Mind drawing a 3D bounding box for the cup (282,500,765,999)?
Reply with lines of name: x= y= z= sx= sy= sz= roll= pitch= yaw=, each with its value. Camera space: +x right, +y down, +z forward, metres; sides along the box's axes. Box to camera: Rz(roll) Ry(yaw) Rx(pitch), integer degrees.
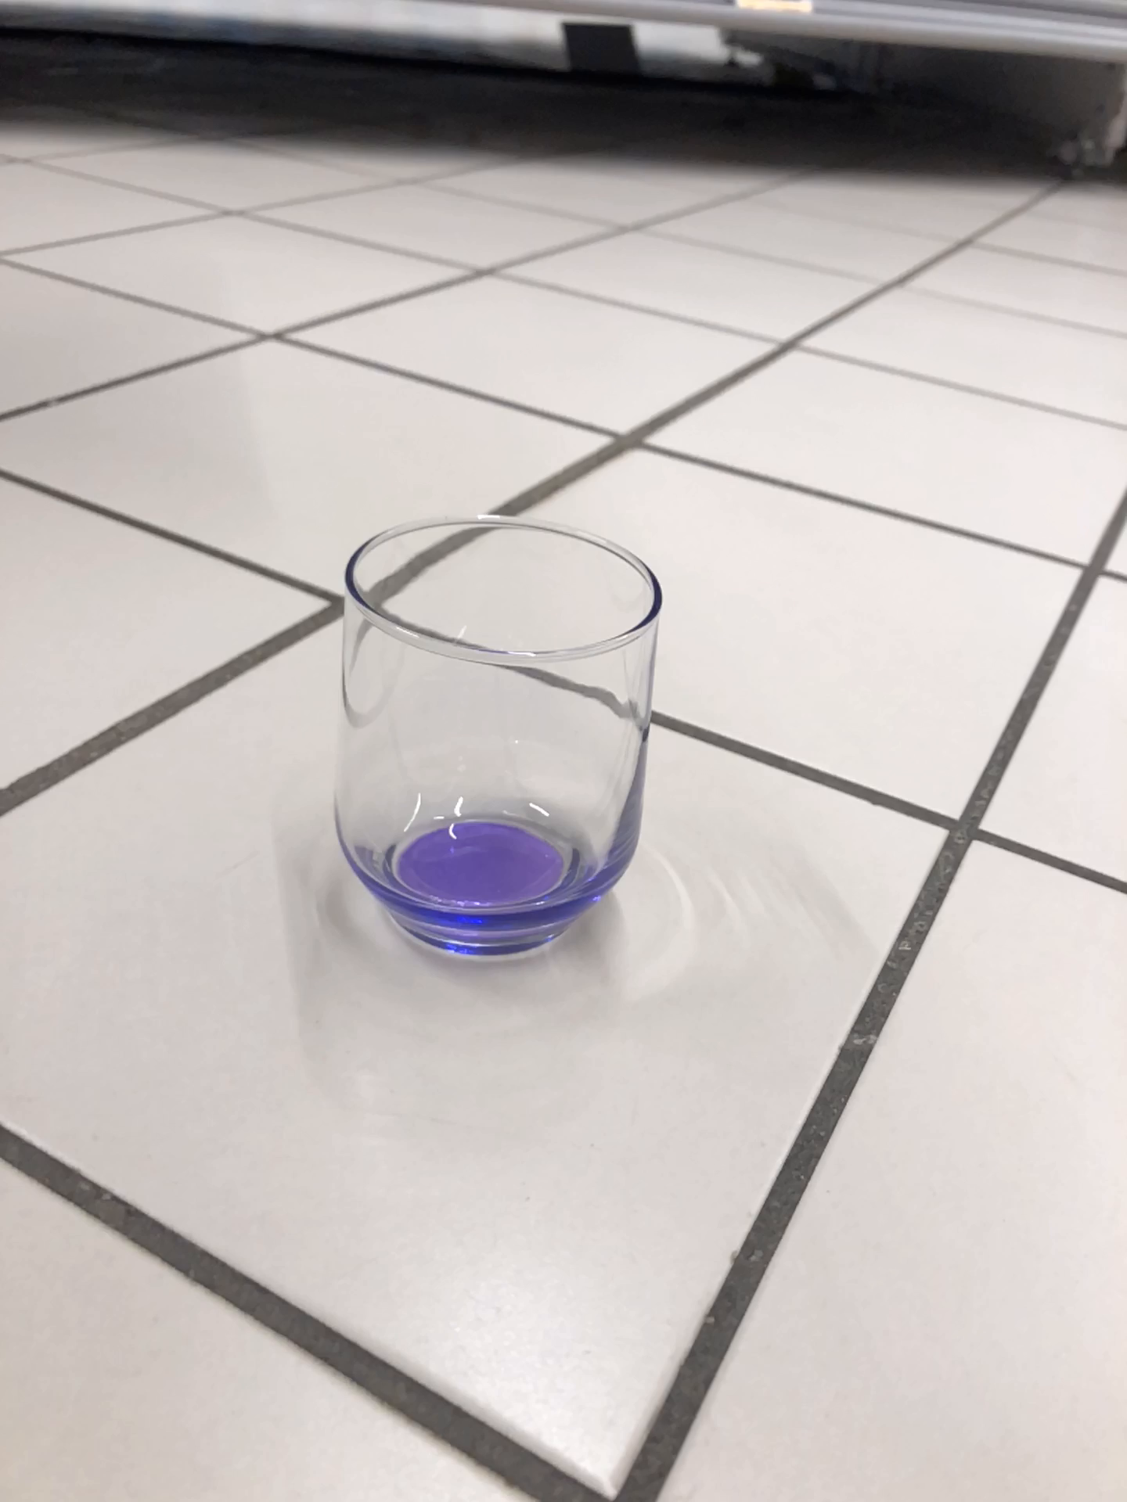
cup: x=-0.013 y=-0.005 z=0.257 sx=0.069 sy=0.063 sz=0.071 roll=4 pitch=33 yaw=-3
